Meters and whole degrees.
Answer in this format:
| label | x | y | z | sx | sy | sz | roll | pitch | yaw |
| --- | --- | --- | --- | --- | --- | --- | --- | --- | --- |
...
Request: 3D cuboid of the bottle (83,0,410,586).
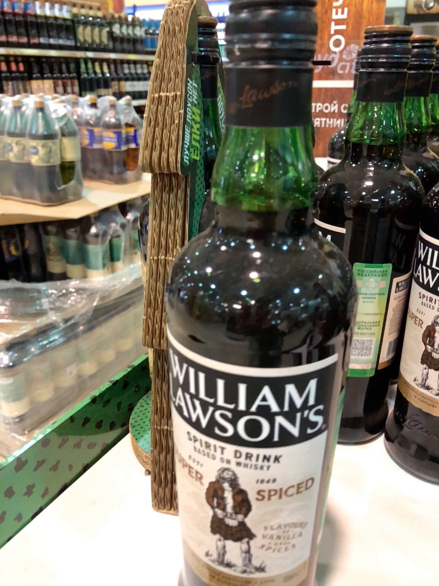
| label | x | y | z | sx | sy | sz | roll | pitch | yaw |
| --- | --- | --- | --- | --- | --- | --- | --- | --- | --- |
| bottle | 0.016 | 0.036 | 0.214 | 0.080 | 0.298 | 0.091 | 9 | 25 | 20 |
